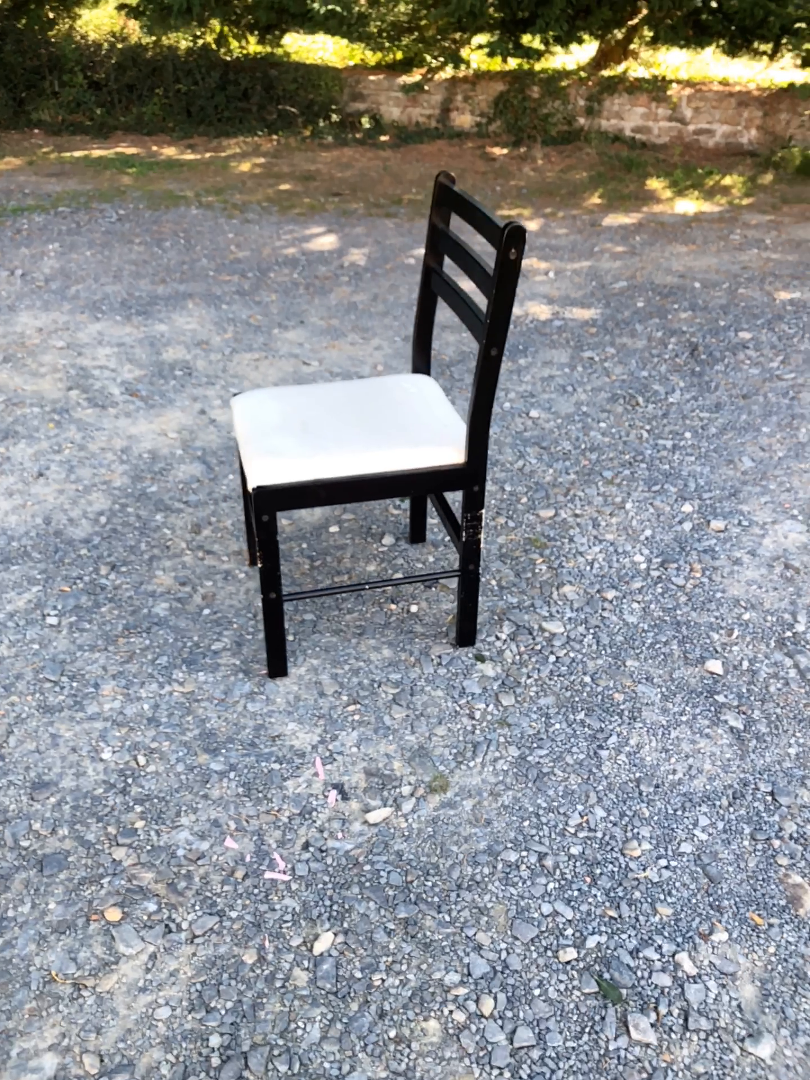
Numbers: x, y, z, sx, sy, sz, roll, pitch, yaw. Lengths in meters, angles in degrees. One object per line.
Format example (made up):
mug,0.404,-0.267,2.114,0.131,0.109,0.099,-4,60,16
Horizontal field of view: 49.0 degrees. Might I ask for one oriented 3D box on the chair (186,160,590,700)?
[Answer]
chair,-0.064,-0.221,1.660,0.531,0.775,0.543,-9,36,-13
